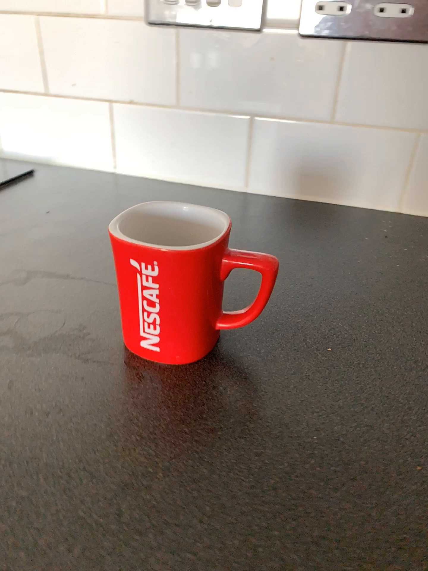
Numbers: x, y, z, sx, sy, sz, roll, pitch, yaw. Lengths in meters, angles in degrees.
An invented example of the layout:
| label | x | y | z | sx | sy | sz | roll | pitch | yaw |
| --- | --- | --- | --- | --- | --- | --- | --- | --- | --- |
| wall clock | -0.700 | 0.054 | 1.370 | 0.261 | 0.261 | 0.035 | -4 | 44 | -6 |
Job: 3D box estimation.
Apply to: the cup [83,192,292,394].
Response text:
| label | x | y | z | sx | sy | sz | roll | pitch | yaw |
| --- | --- | --- | --- | --- | --- | --- | --- | --- | --- |
| cup | -0.015 | 0.001 | 0.296 | 0.112 | 0.091 | 0.067 | 13 | 32 | 17 |
